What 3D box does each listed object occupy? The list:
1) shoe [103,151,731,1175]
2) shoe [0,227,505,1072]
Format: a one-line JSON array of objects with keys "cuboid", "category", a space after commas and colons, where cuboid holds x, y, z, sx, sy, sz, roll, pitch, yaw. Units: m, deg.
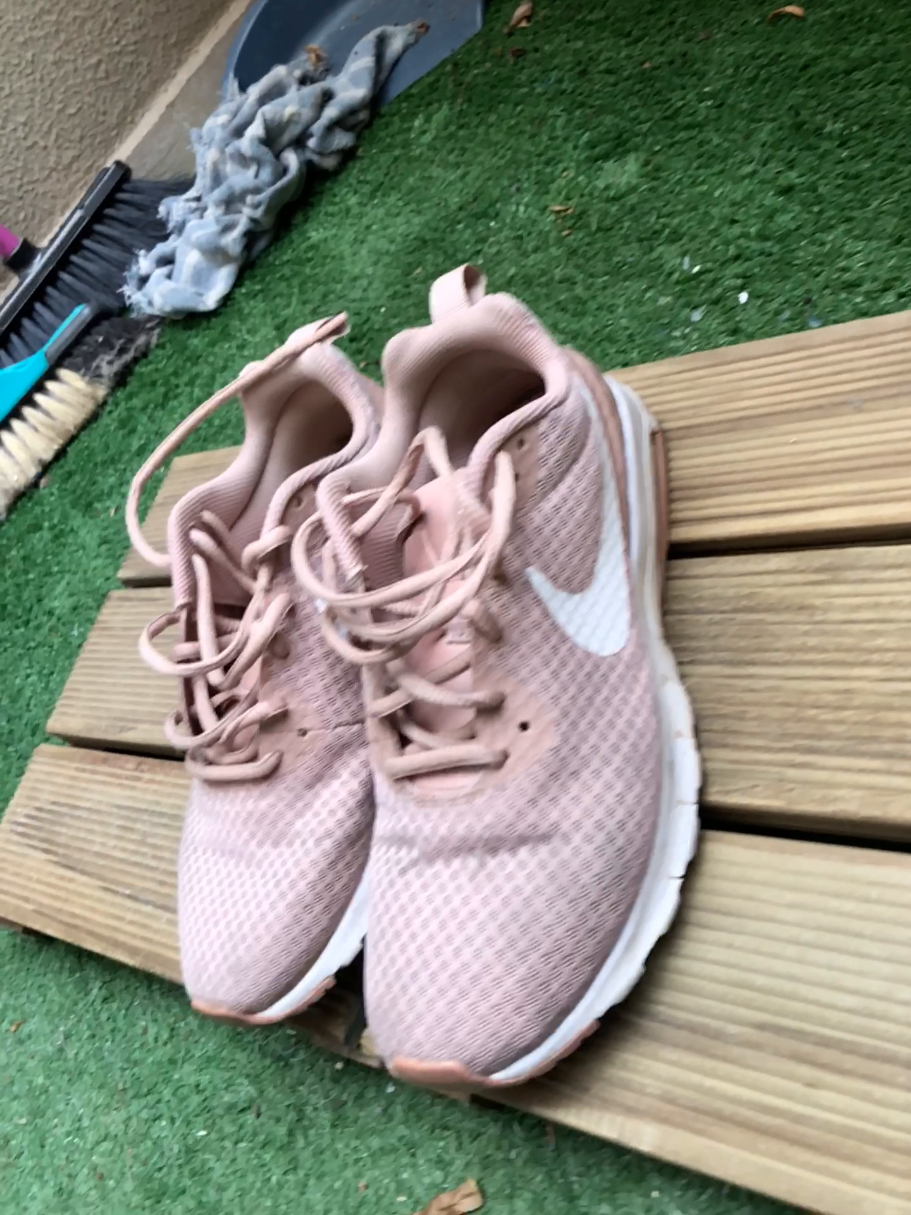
[{"cuboid": [0.006, 0.008, 0.300, 0.111, 0.089, 0.261, -12, 55, 36], "category": "shoe"}, {"cuboid": [-0.074, 0.009, 0.359, 0.111, 0.089, 0.260, -10, 56, 37], "category": "shoe"}]
